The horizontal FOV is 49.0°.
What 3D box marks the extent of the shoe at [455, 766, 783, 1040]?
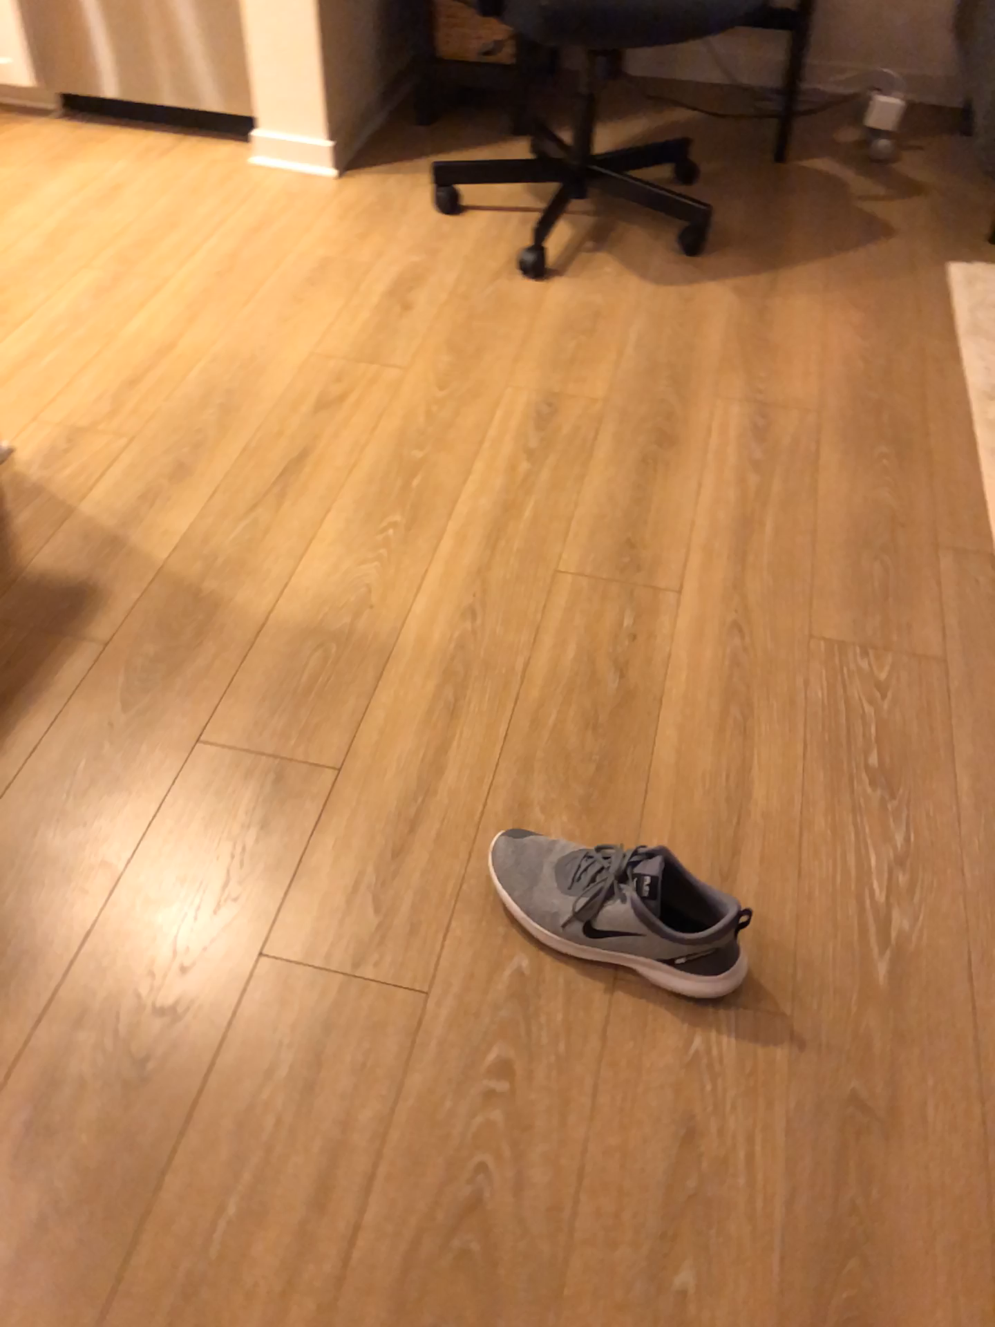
[{"bbox_3d":[0.121,0.241,1.133,0.300,0.089,0.141,22,49,18],"label":"shoe"}]
